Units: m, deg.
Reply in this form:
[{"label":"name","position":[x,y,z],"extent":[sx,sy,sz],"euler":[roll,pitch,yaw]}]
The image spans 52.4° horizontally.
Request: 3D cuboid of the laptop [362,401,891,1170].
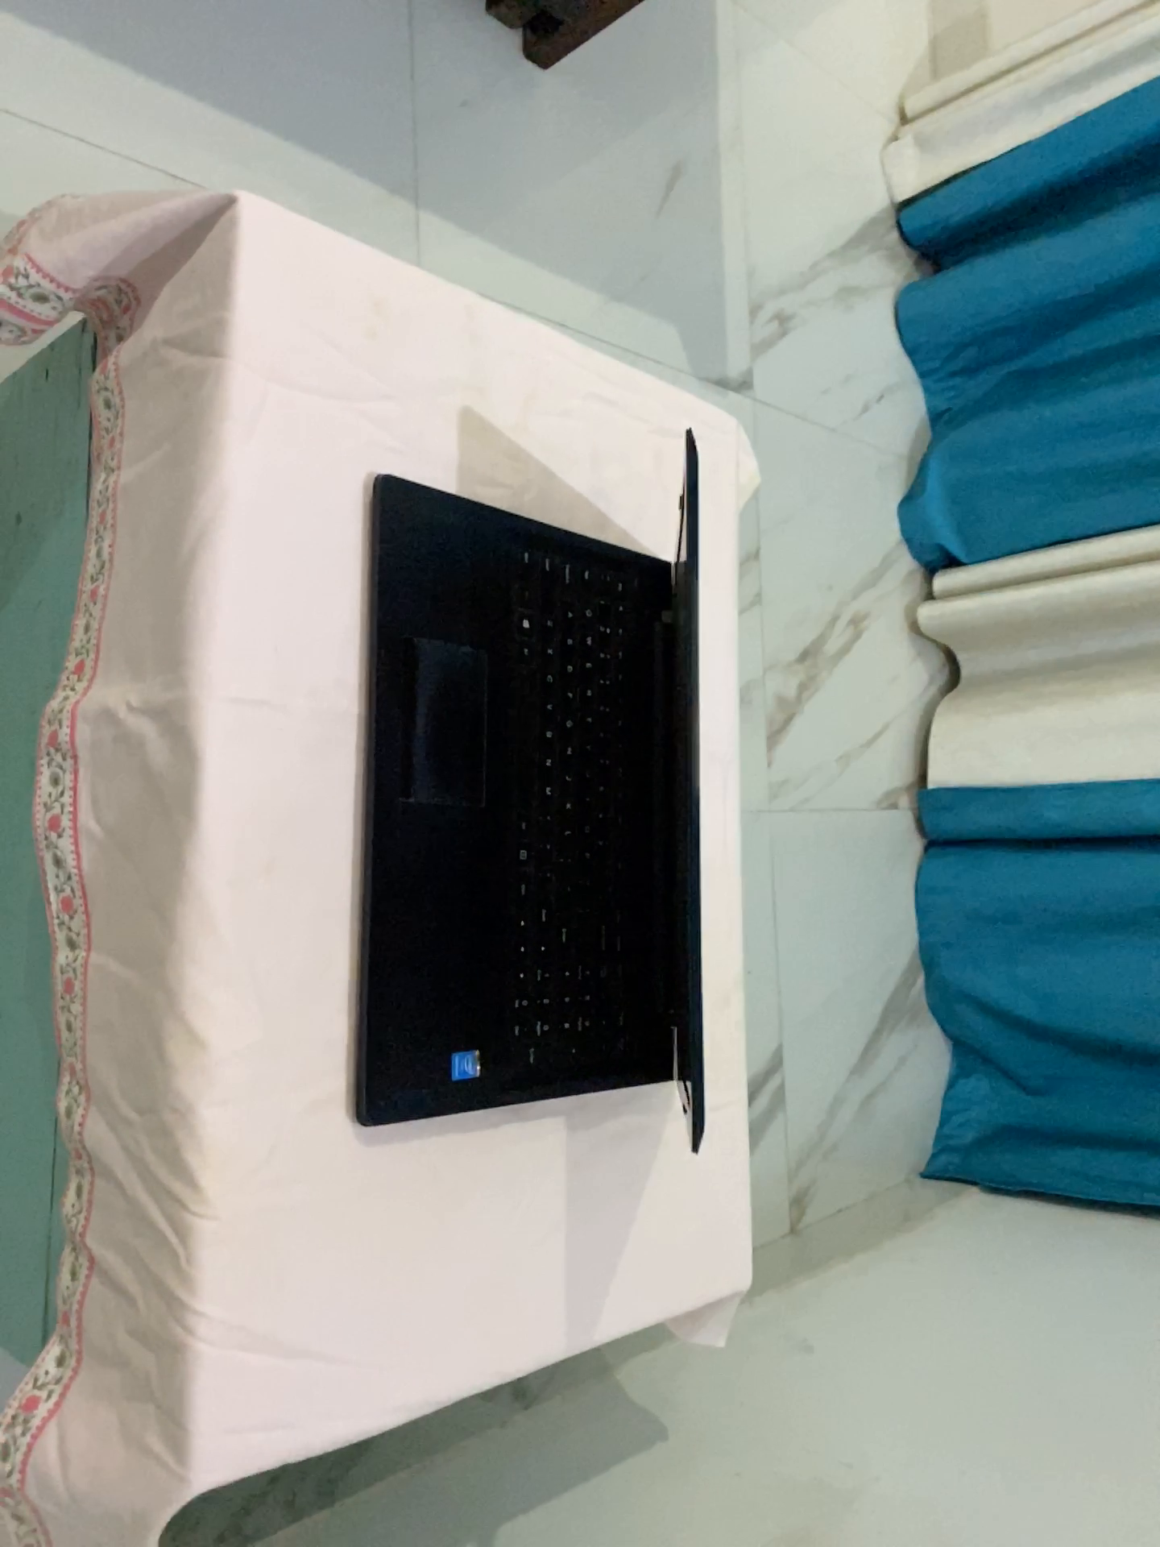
[{"label":"laptop","position":[0.034,0.015,0.713],"extent":[0.260,0.176,0.368],"euler":[6,82,-43]}]
